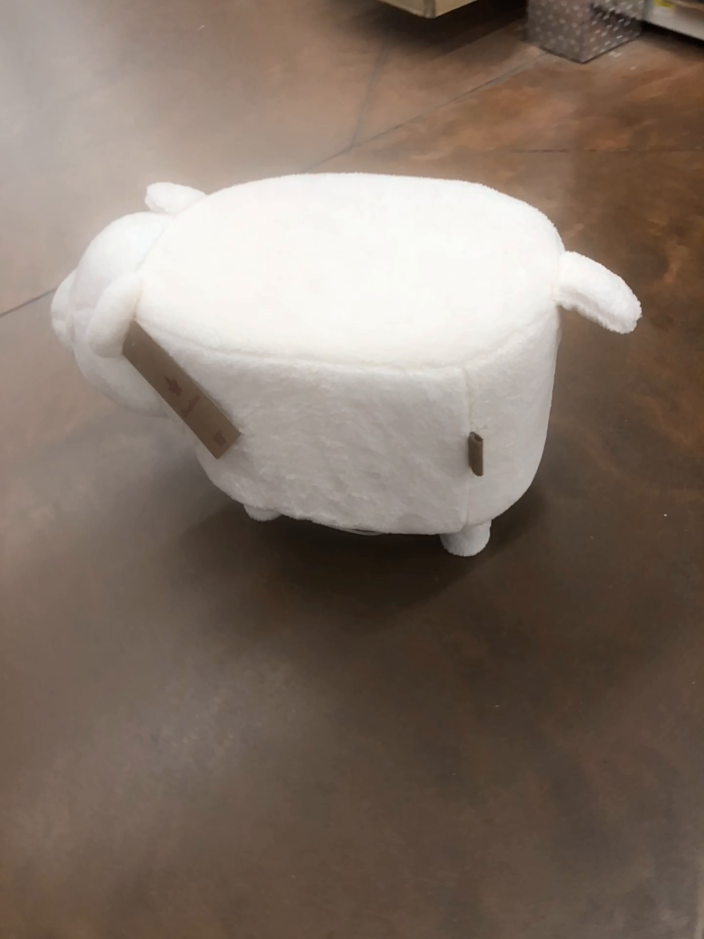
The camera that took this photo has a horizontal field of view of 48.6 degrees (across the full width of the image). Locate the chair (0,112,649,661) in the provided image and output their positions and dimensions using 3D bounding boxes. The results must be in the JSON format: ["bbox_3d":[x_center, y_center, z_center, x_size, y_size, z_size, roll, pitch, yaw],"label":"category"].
[{"bbox_3d":[-0.034,-0.131,0.927,0.631,0.349,0.441,12,52,18],"label":"chair"}]
